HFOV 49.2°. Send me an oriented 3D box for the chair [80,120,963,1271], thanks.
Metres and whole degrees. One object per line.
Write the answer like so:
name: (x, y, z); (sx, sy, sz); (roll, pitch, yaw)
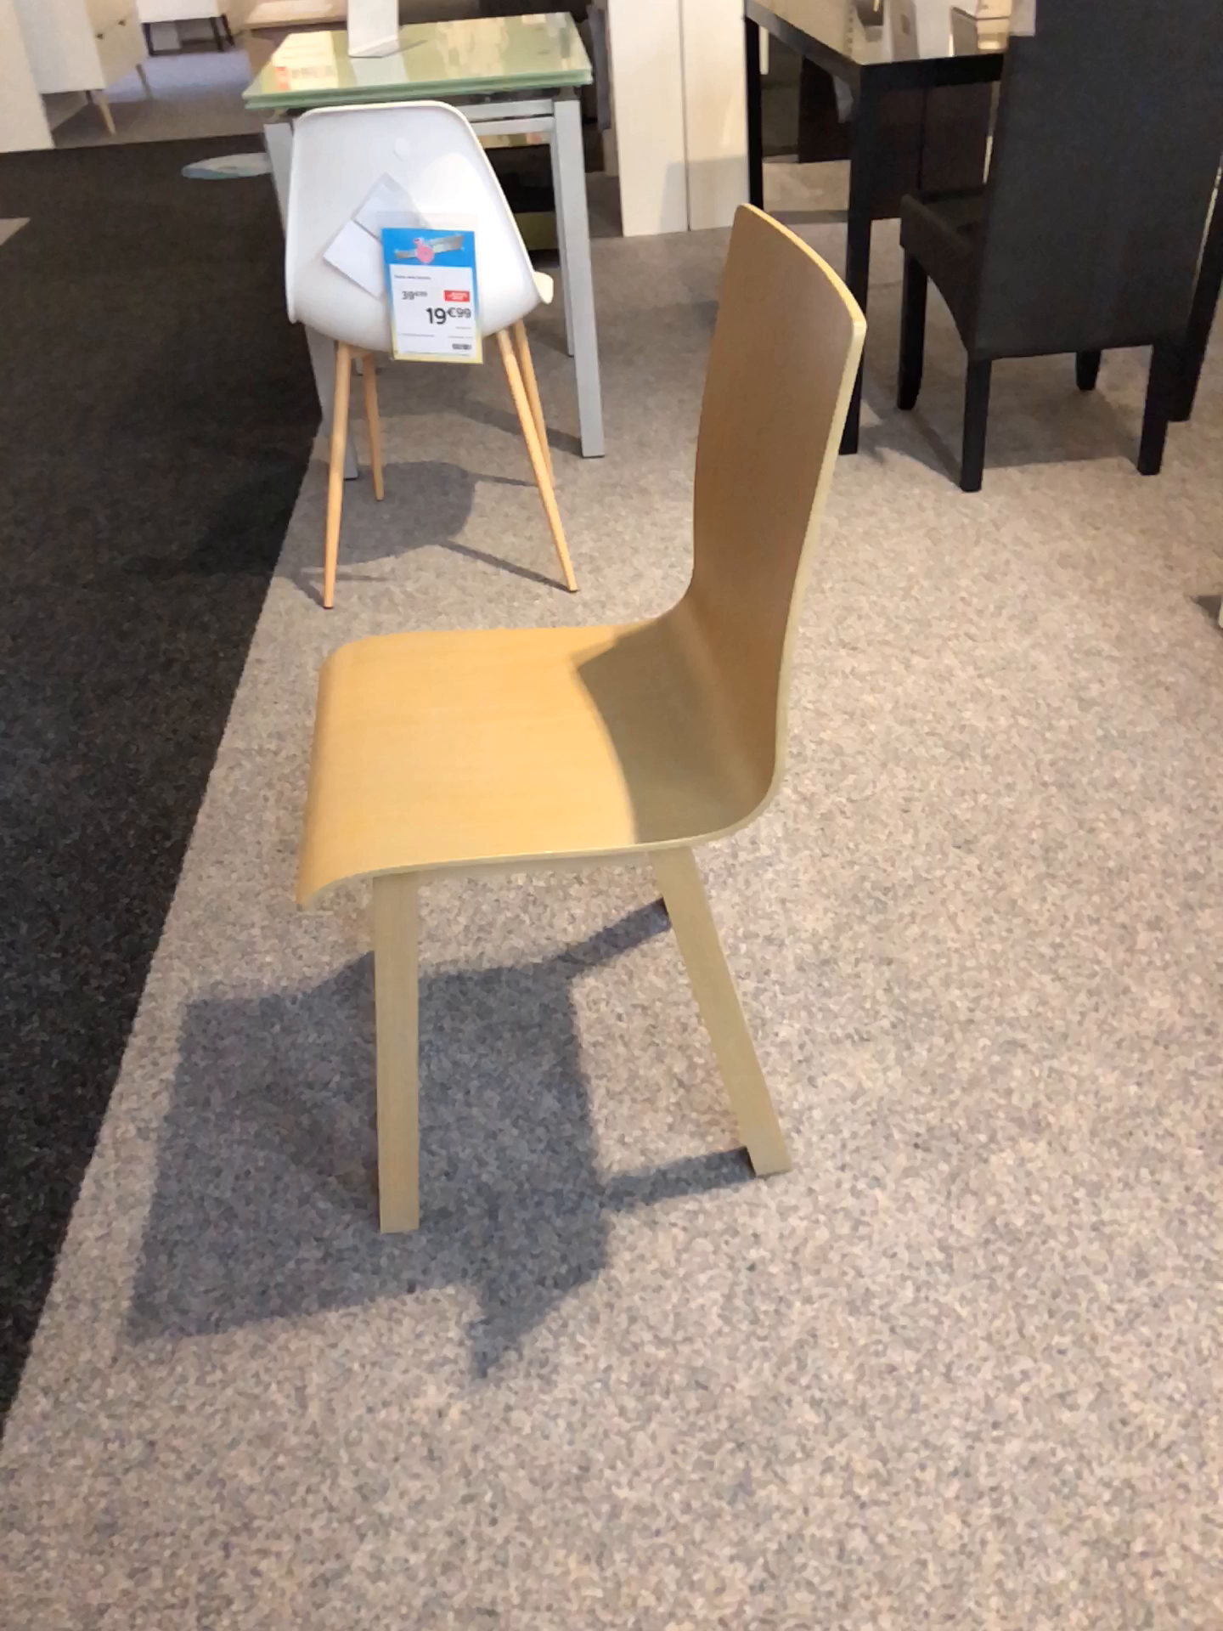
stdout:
chair: (-0.034, -0.087, 1.200); (0.490, 0.835, 0.523); (-6, 38, 0)
